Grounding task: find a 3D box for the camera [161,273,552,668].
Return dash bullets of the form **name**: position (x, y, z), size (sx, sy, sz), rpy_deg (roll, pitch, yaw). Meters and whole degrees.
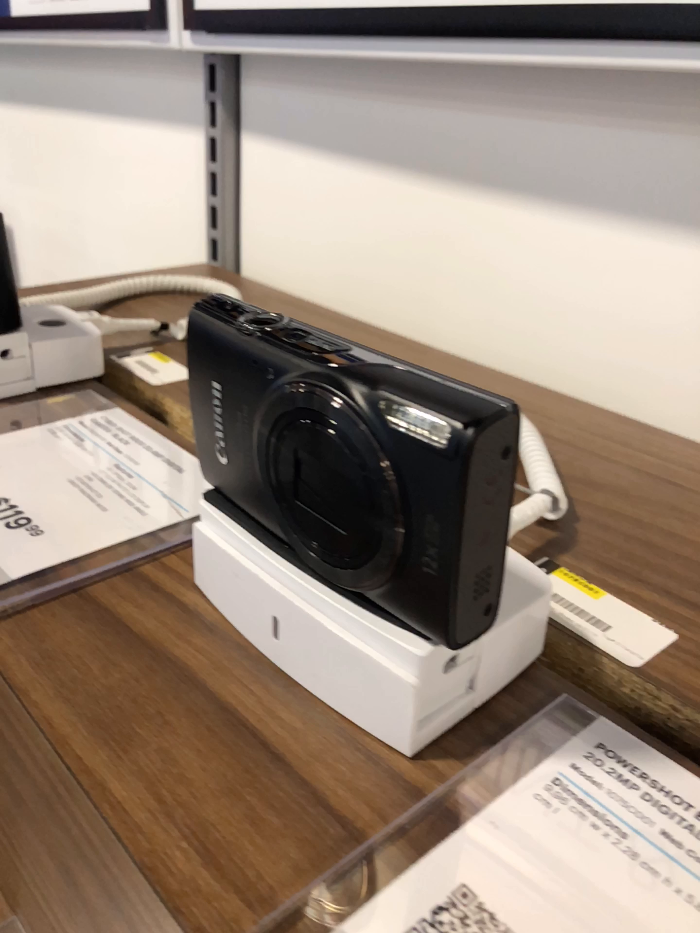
- **camera**: position (-0.006, -0.006, 0.194), size (0.030, 0.060, 0.100), rpy_deg (-19, 34, -40)
